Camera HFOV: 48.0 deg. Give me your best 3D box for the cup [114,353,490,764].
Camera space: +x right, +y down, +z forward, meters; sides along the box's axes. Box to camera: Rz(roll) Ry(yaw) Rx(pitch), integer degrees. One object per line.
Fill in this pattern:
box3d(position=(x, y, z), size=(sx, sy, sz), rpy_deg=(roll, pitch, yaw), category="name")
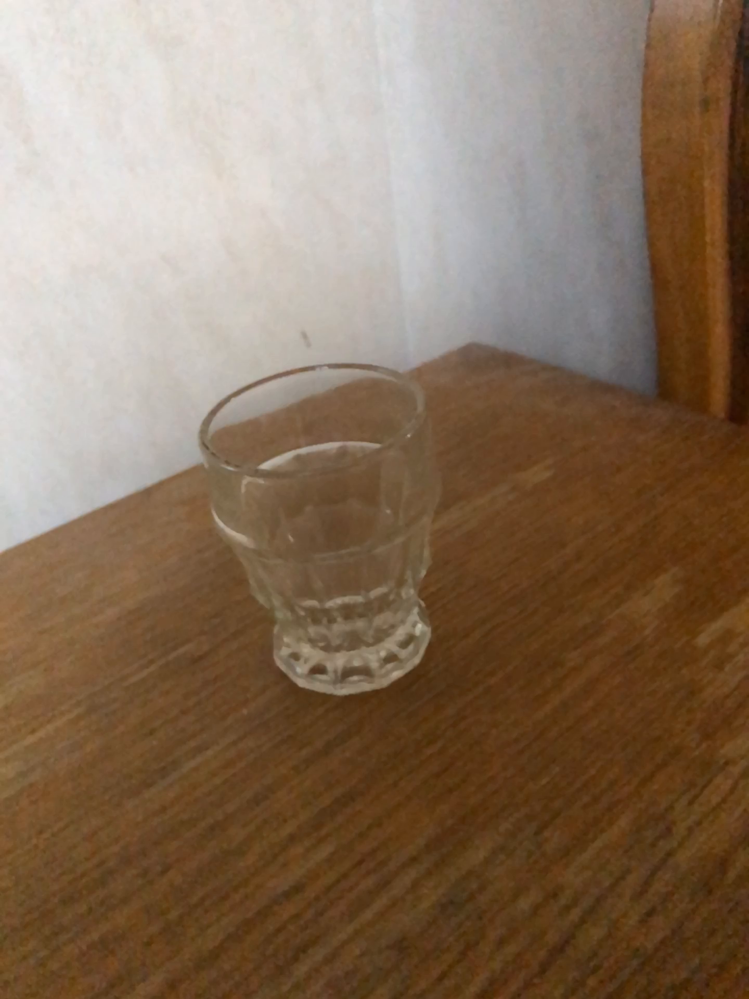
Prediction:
box3d(position=(-0.013, 0.010, 0.210), size=(0.060, 0.070, 0.060), rpy_deg=(-5, 30, 3), category="cup")
